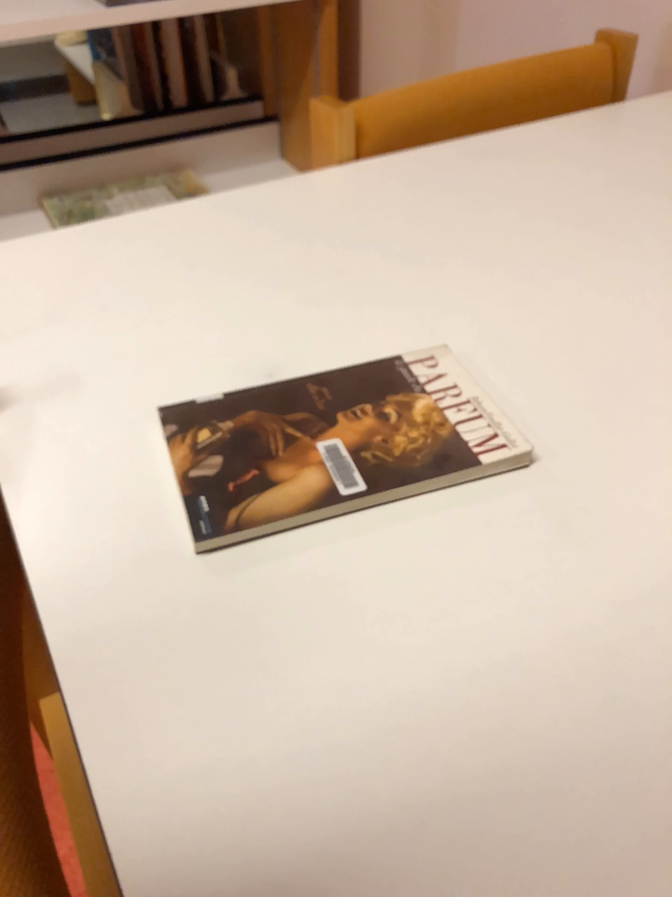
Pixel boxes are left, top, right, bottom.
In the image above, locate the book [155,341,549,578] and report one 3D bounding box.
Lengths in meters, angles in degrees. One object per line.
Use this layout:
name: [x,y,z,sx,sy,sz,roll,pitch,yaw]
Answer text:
book: [0.004,-0.004,0.469,0.210,0.020,0.133,-14,42,-15]
